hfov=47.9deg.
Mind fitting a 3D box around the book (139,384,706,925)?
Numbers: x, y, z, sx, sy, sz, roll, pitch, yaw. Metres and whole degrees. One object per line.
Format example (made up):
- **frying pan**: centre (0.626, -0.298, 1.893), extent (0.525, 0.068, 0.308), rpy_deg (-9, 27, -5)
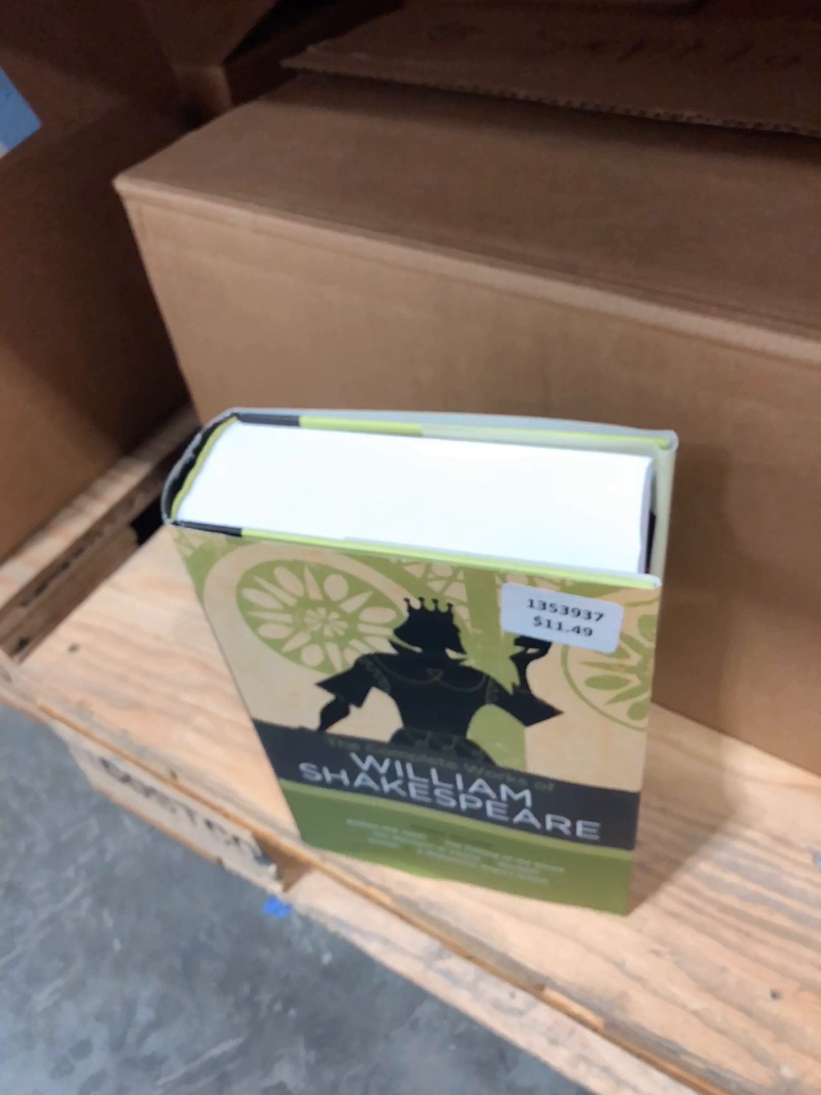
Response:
- **book**: centre (0.019, 0.057, 0.403), extent (0.181, 0.239, 0.080), rpy_deg (7, 48, 17)
